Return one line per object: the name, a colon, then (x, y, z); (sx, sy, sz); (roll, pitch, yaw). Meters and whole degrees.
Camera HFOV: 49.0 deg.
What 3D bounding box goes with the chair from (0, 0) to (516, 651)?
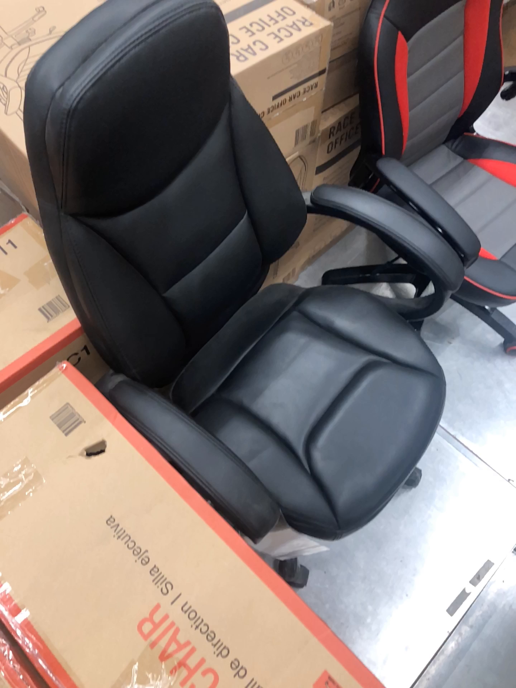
chair: (0.069, 0.001, 1.103); (0.741, 1.065, 0.723); (32, 64, 17)
